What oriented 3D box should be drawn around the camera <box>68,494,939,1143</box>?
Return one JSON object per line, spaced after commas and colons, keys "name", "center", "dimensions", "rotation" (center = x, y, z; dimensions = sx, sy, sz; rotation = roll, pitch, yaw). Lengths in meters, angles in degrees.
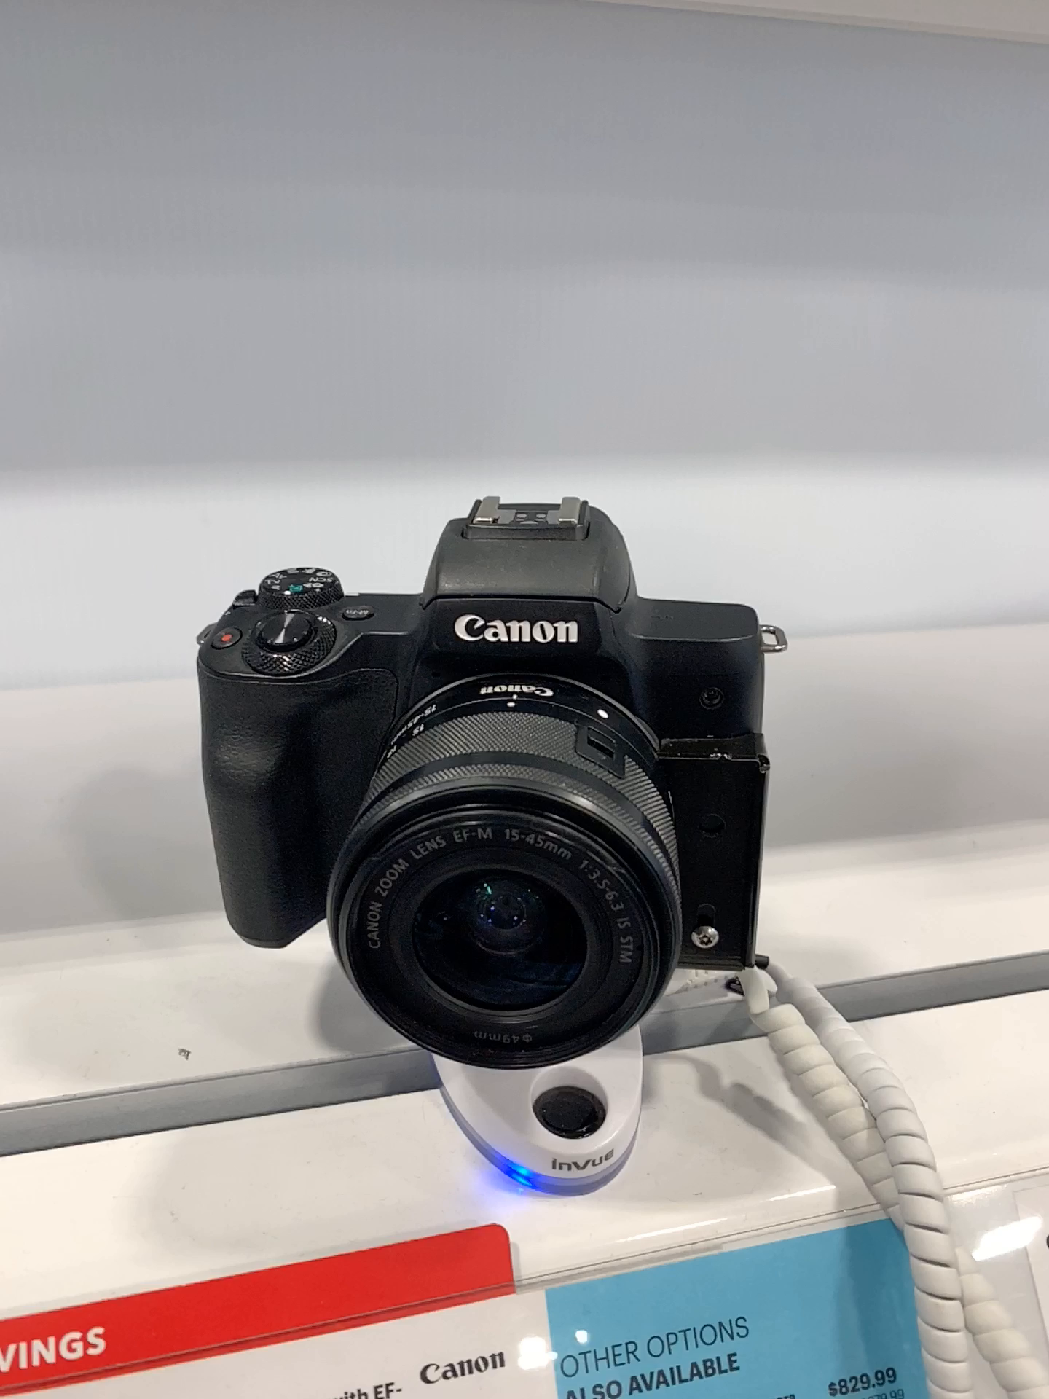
{"name": "camera", "center": [-0.003, 0.014, 0.218], "dimensions": [0.121, 0.080, 0.111], "rotation": [1, 25, 0]}
